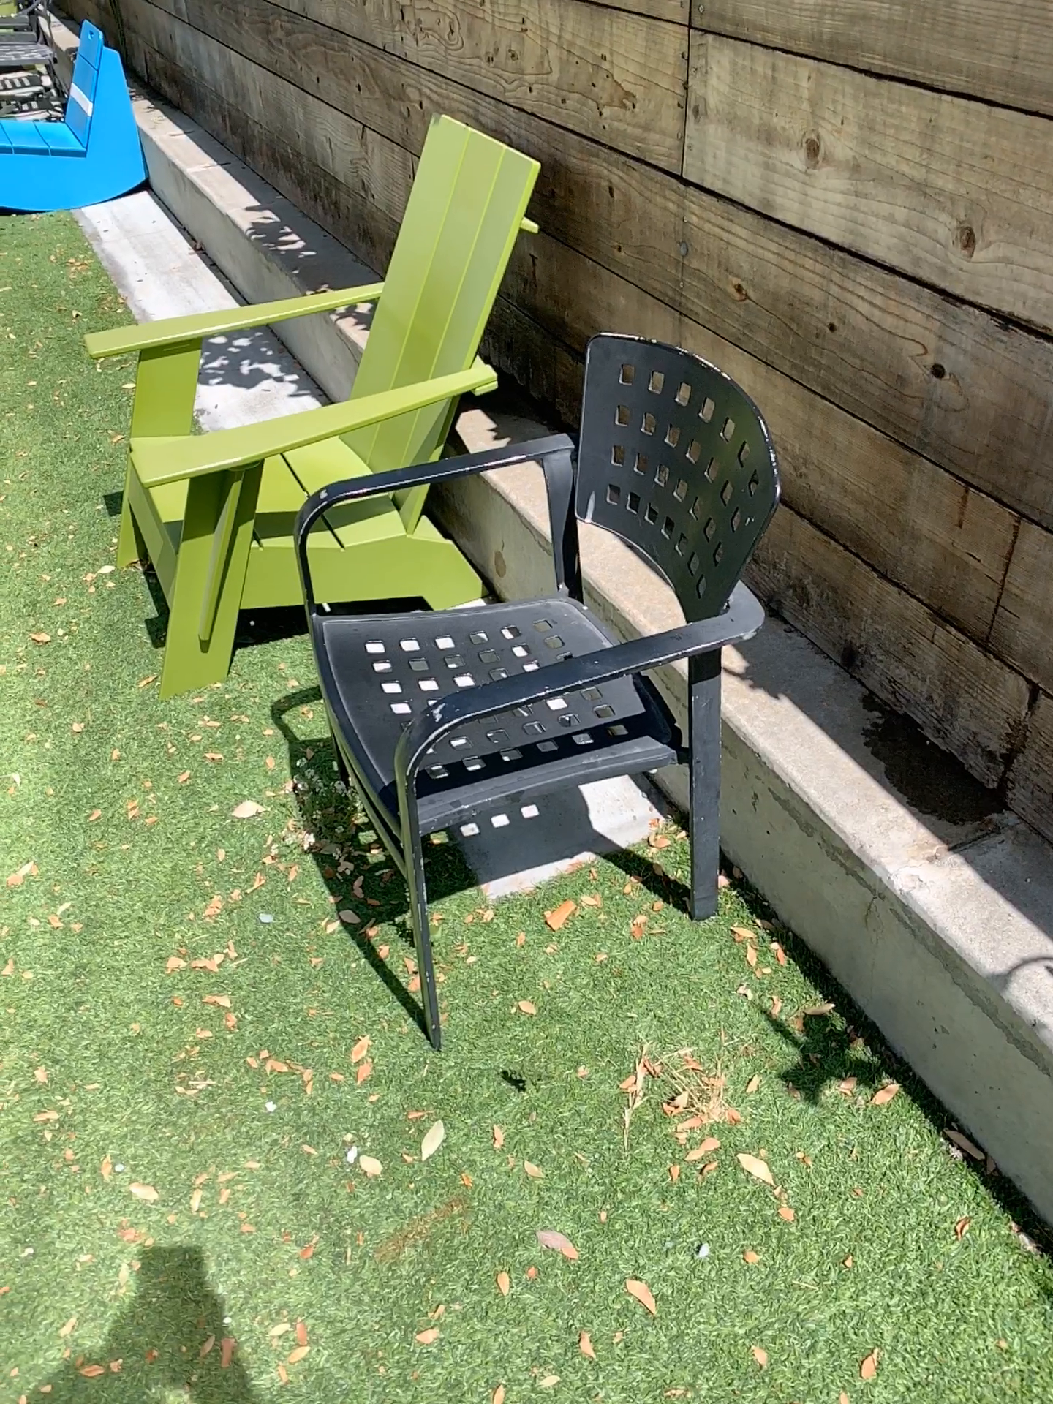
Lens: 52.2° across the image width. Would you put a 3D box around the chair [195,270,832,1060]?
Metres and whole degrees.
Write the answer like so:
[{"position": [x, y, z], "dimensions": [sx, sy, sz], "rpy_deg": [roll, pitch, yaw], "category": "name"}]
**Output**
[{"position": [-0.039, -0.066, 1.411], "dimensions": [0.520, 0.716, 0.594], "rpy_deg": [-17, 42, -15], "category": "chair"}]
